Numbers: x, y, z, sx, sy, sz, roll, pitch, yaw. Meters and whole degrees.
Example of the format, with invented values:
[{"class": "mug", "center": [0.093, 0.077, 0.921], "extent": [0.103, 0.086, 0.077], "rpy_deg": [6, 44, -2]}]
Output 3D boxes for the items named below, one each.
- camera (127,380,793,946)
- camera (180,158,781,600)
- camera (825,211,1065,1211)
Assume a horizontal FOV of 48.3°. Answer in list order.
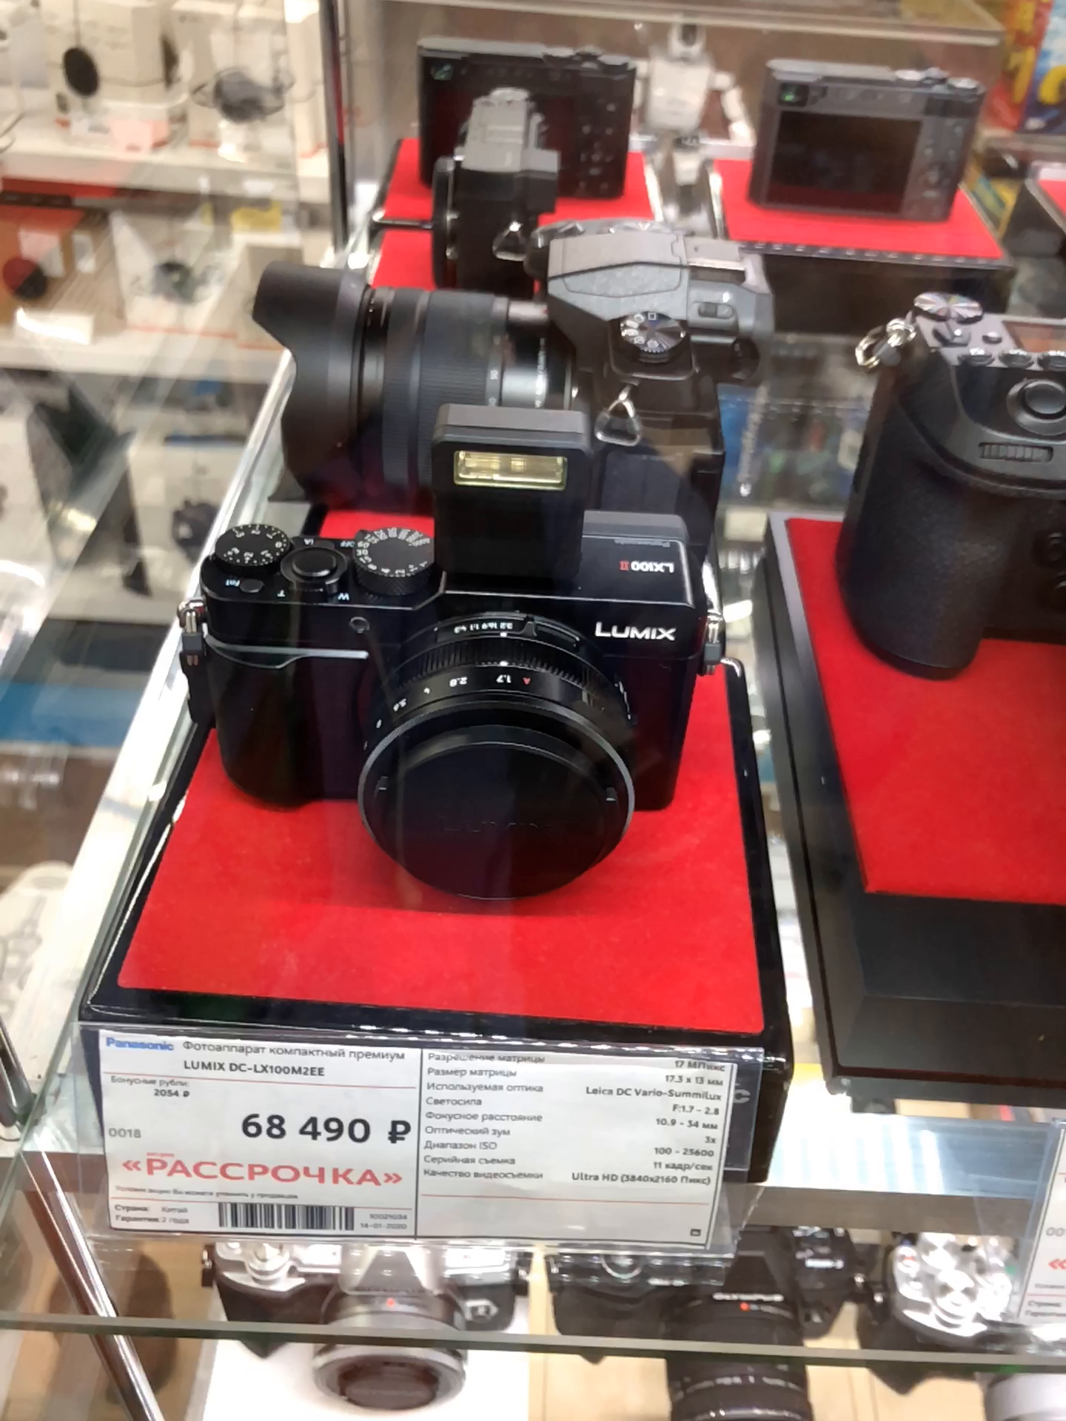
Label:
[{"class": "camera", "center": [-0.014, -0.009, 0.266], "extent": [0.117, 0.098, 0.070], "rpy_deg": [3, 41, -1]}, {"class": "camera", "center": [-0.012, -0.102, 0.357], "extent": [0.149, 0.081, 0.099], "rpy_deg": [5, 41, 1]}, {"class": "camera", "center": [0.189, -0.020, 0.292], "extent": [0.175, 0.114, 0.227], "rpy_deg": [3, 41, -1]}]
